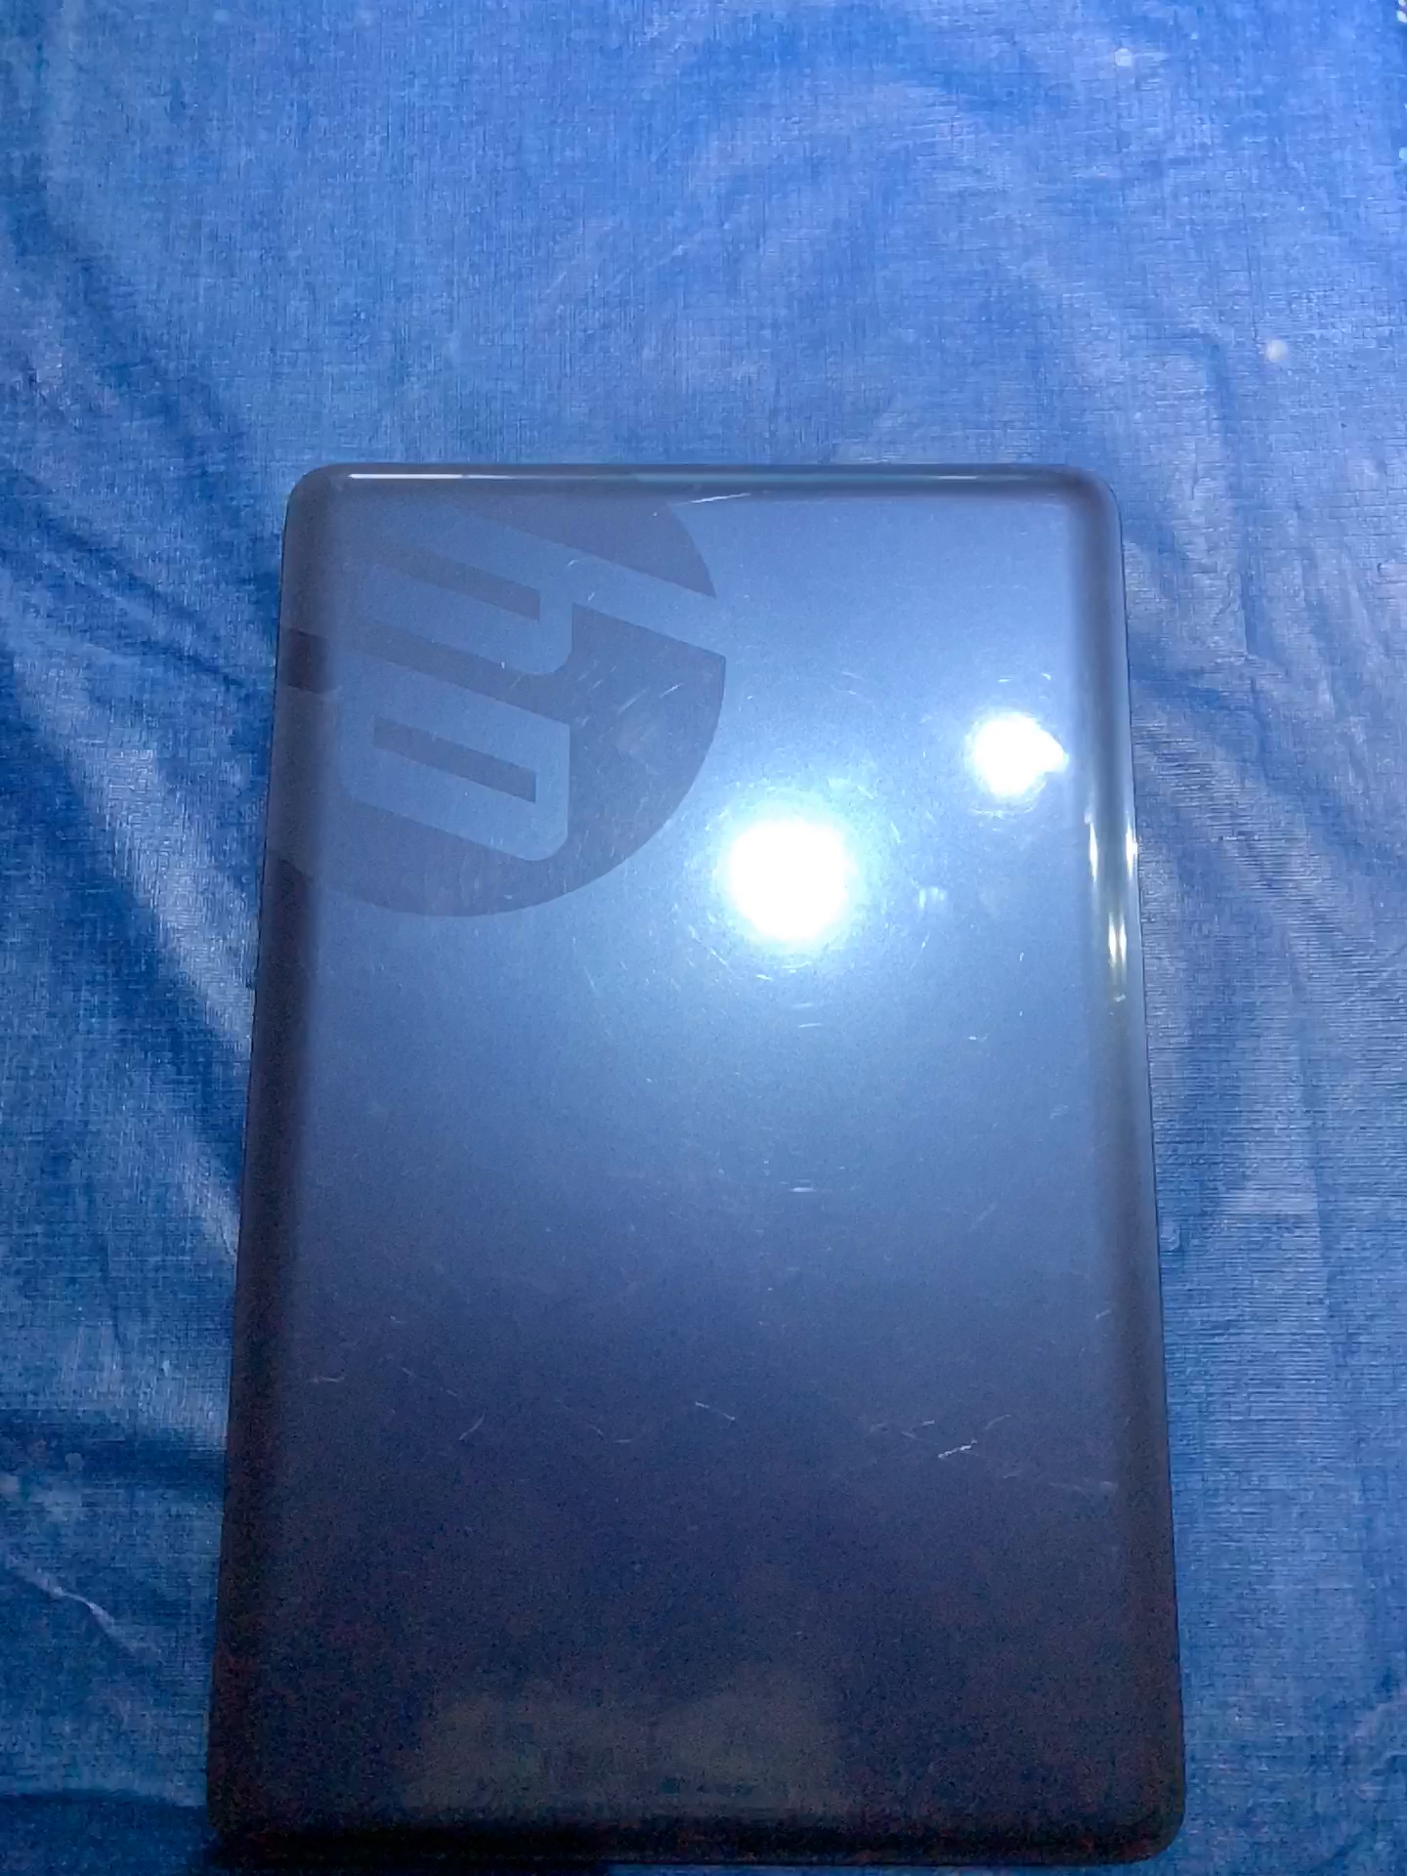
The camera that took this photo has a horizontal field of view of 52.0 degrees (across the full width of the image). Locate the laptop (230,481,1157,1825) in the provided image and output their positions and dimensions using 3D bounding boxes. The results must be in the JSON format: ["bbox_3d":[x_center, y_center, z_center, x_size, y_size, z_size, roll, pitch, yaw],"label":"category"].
[{"bbox_3d":[-0.001,0.046,0.400,0.235,0.009,0.363,0,81,0],"label":"laptop"}]
